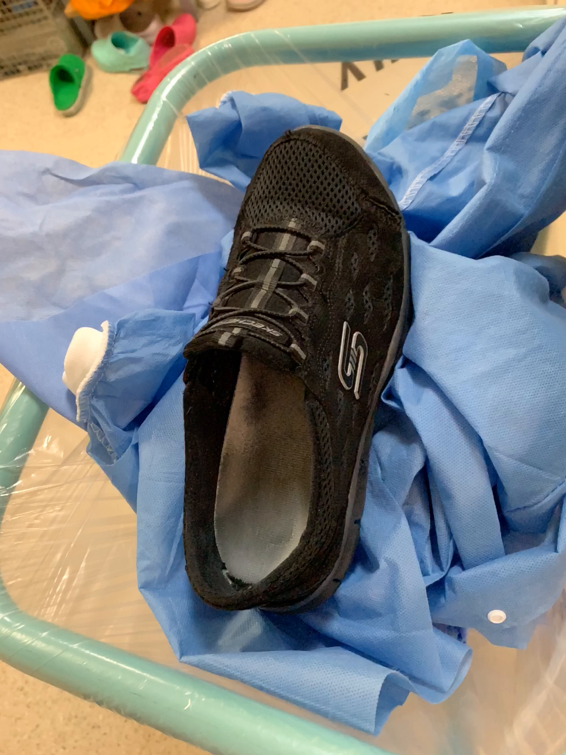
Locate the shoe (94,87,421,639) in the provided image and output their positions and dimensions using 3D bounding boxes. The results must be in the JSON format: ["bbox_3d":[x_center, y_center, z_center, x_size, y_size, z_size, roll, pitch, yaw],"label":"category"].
[{"bbox_3d":[0.006,-0.013,0.303,0.088,0.094,0.255,6,70,20],"label":"shoe"}]
